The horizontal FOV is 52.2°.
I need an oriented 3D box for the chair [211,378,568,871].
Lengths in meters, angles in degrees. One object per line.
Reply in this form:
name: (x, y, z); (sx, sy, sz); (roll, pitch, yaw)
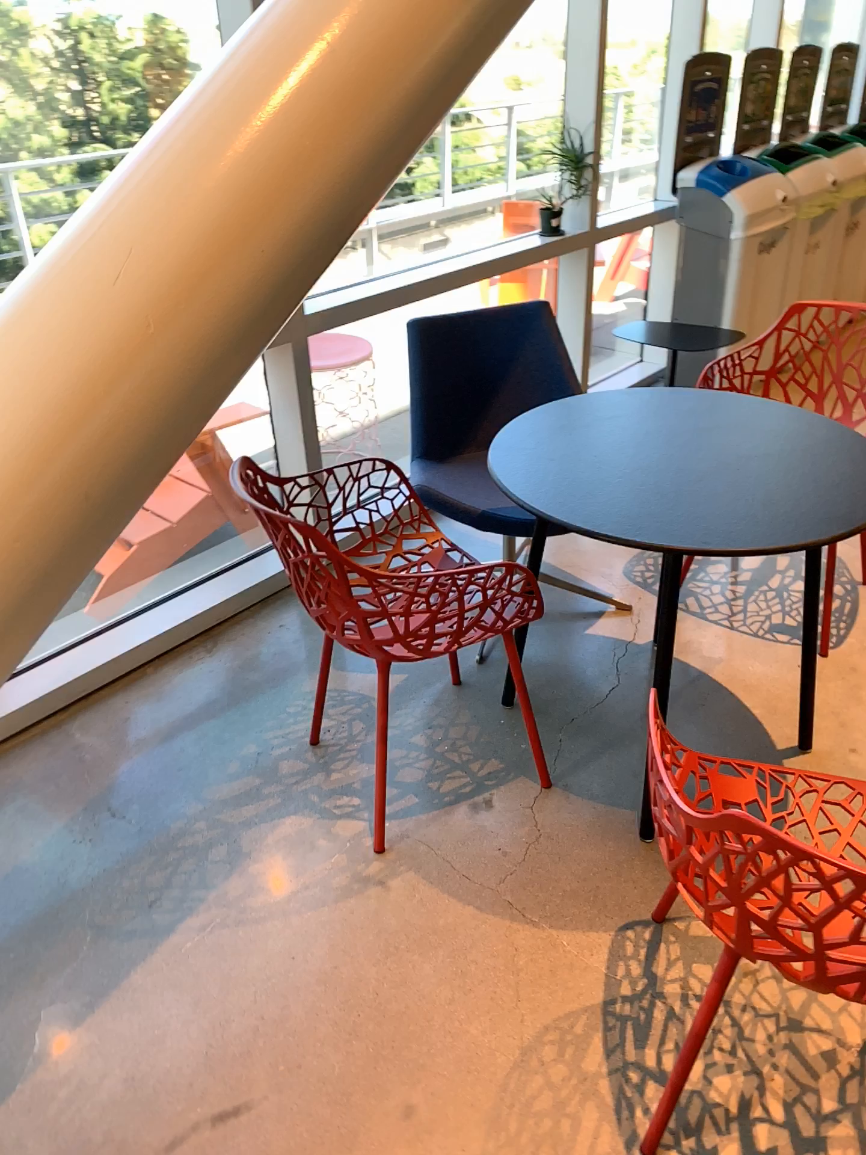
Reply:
chair: (-0.101, 0.069, 1.874); (0.530, 0.765, 0.563); (-13, 32, -17)

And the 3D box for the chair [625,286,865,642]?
chair: (0.965, -0.356, 2.546); (0.552, 0.765, 0.561); (21, 38, 34)

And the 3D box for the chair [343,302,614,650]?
chair: (0.113, -0.309, 2.522); (0.560, 0.765, 0.513); (-12, 32, -16)

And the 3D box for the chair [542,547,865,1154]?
chair: (0.490, 0.450, 1.233); (0.561, 0.765, 0.533); (7, 32, 16)
